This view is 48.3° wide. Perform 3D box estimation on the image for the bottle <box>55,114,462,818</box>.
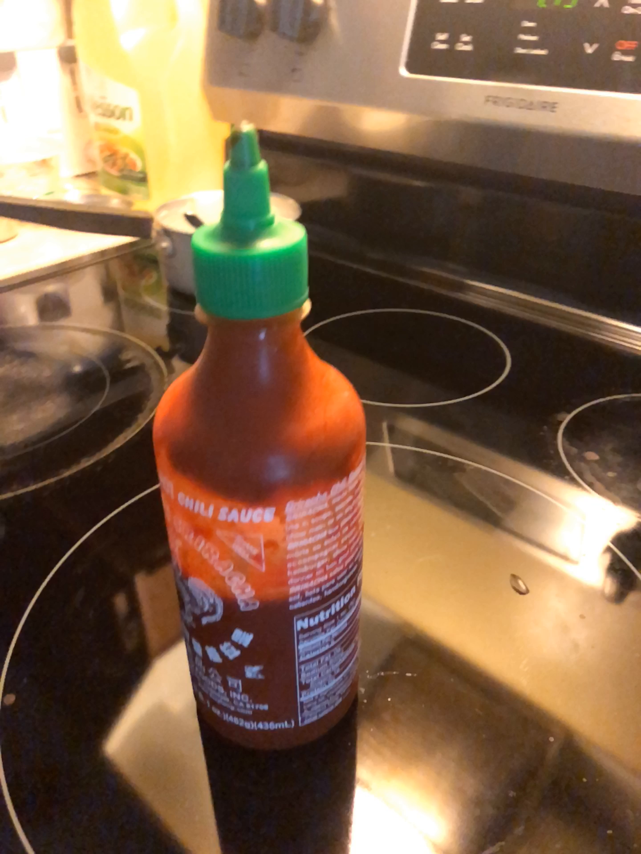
[{"bbox_3d":[-0.015,0.018,0.224,0.070,0.199,0.070,-1,32,0],"label":"bottle"}]
